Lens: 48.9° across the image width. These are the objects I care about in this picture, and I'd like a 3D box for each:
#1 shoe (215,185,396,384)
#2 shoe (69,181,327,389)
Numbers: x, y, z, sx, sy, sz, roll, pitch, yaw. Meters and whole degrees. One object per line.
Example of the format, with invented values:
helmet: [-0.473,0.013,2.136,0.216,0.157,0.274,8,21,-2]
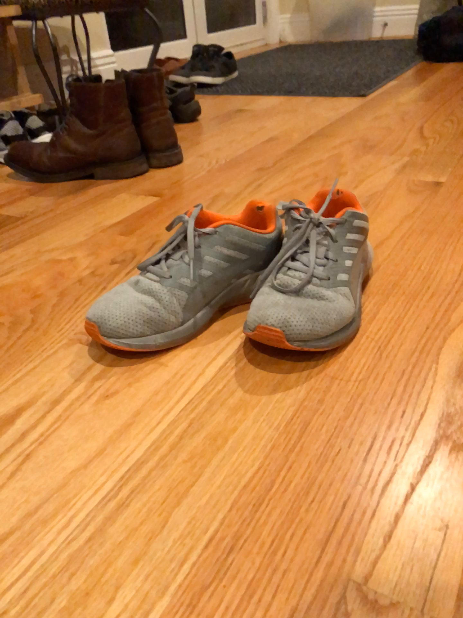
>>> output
shoe: [0.089,-0.044,0.516,0.110,0.080,0.251,8,34,22]
shoe: [-0.019,-0.040,0.524,0.251,0.099,0.100,-30,39,-35]
